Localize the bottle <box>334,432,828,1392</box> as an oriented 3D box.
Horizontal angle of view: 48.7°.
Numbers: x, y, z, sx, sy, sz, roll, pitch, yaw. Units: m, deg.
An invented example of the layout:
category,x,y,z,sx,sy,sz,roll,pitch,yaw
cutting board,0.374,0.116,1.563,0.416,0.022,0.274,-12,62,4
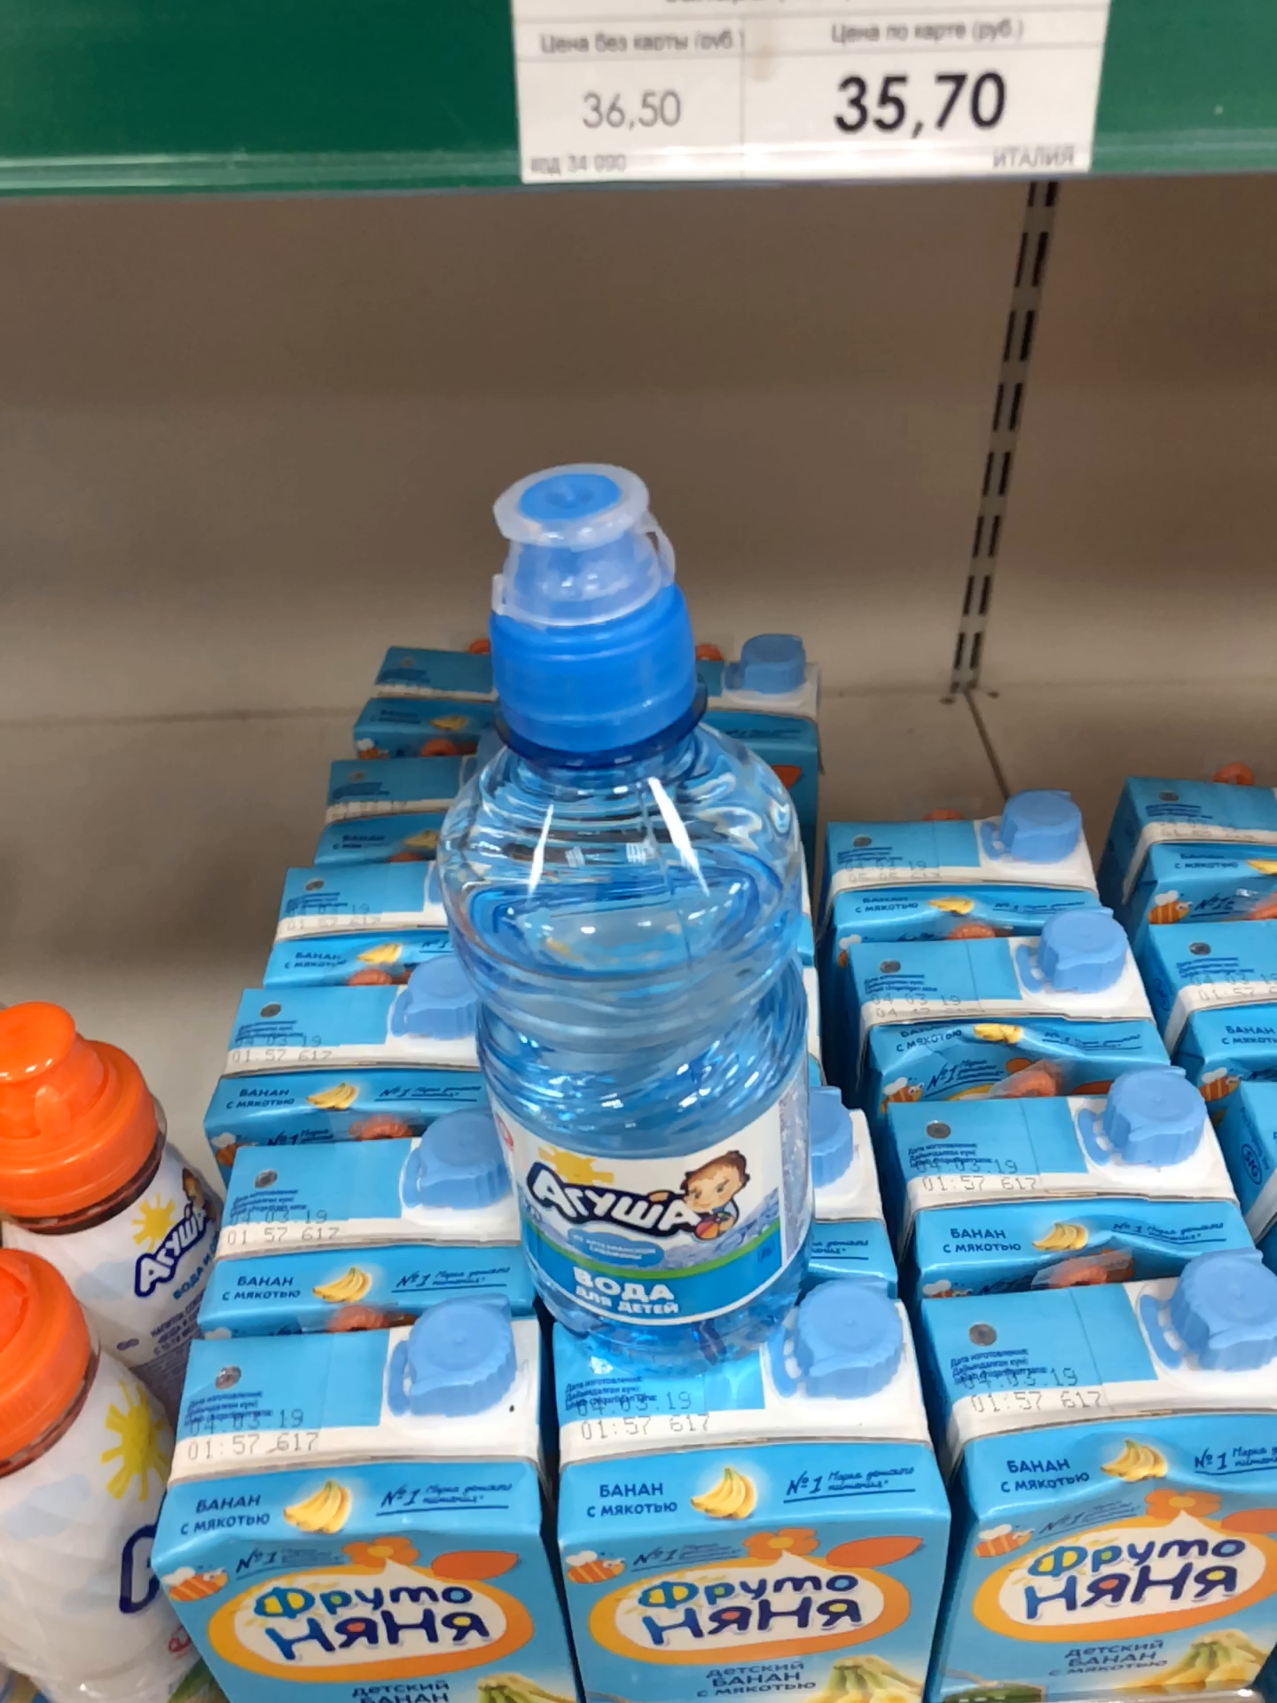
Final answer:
category,x,y,z,sx,sy,sz,roll,pitch,yaw
bottle,0.001,0.021,0.249,0.060,0.174,0.056,-3,40,2
